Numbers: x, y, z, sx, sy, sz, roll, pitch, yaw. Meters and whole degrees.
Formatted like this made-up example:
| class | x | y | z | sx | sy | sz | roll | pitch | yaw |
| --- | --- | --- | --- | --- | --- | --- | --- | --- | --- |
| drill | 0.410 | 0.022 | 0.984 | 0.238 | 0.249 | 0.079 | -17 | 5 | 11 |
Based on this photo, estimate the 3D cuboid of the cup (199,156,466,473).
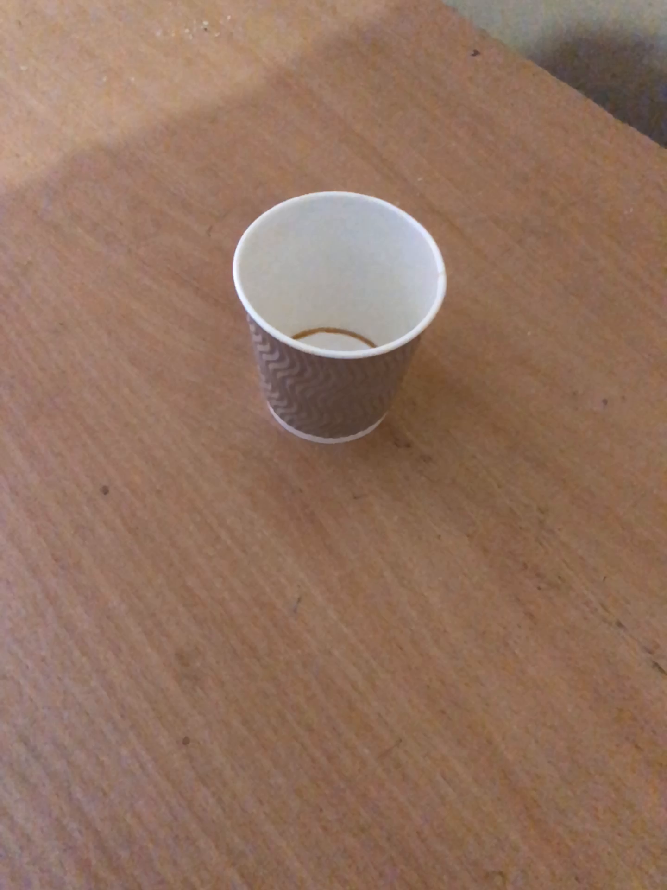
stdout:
| class | x | y | z | sx | sy | sz | roll | pitch | yaw |
| --- | --- | --- | --- | --- | --- | --- | --- | --- | --- |
| cup | 0.002 | -0.045 | 0.262 | 0.067 | 0.064 | 0.074 | 14 | 59 | 7 |
